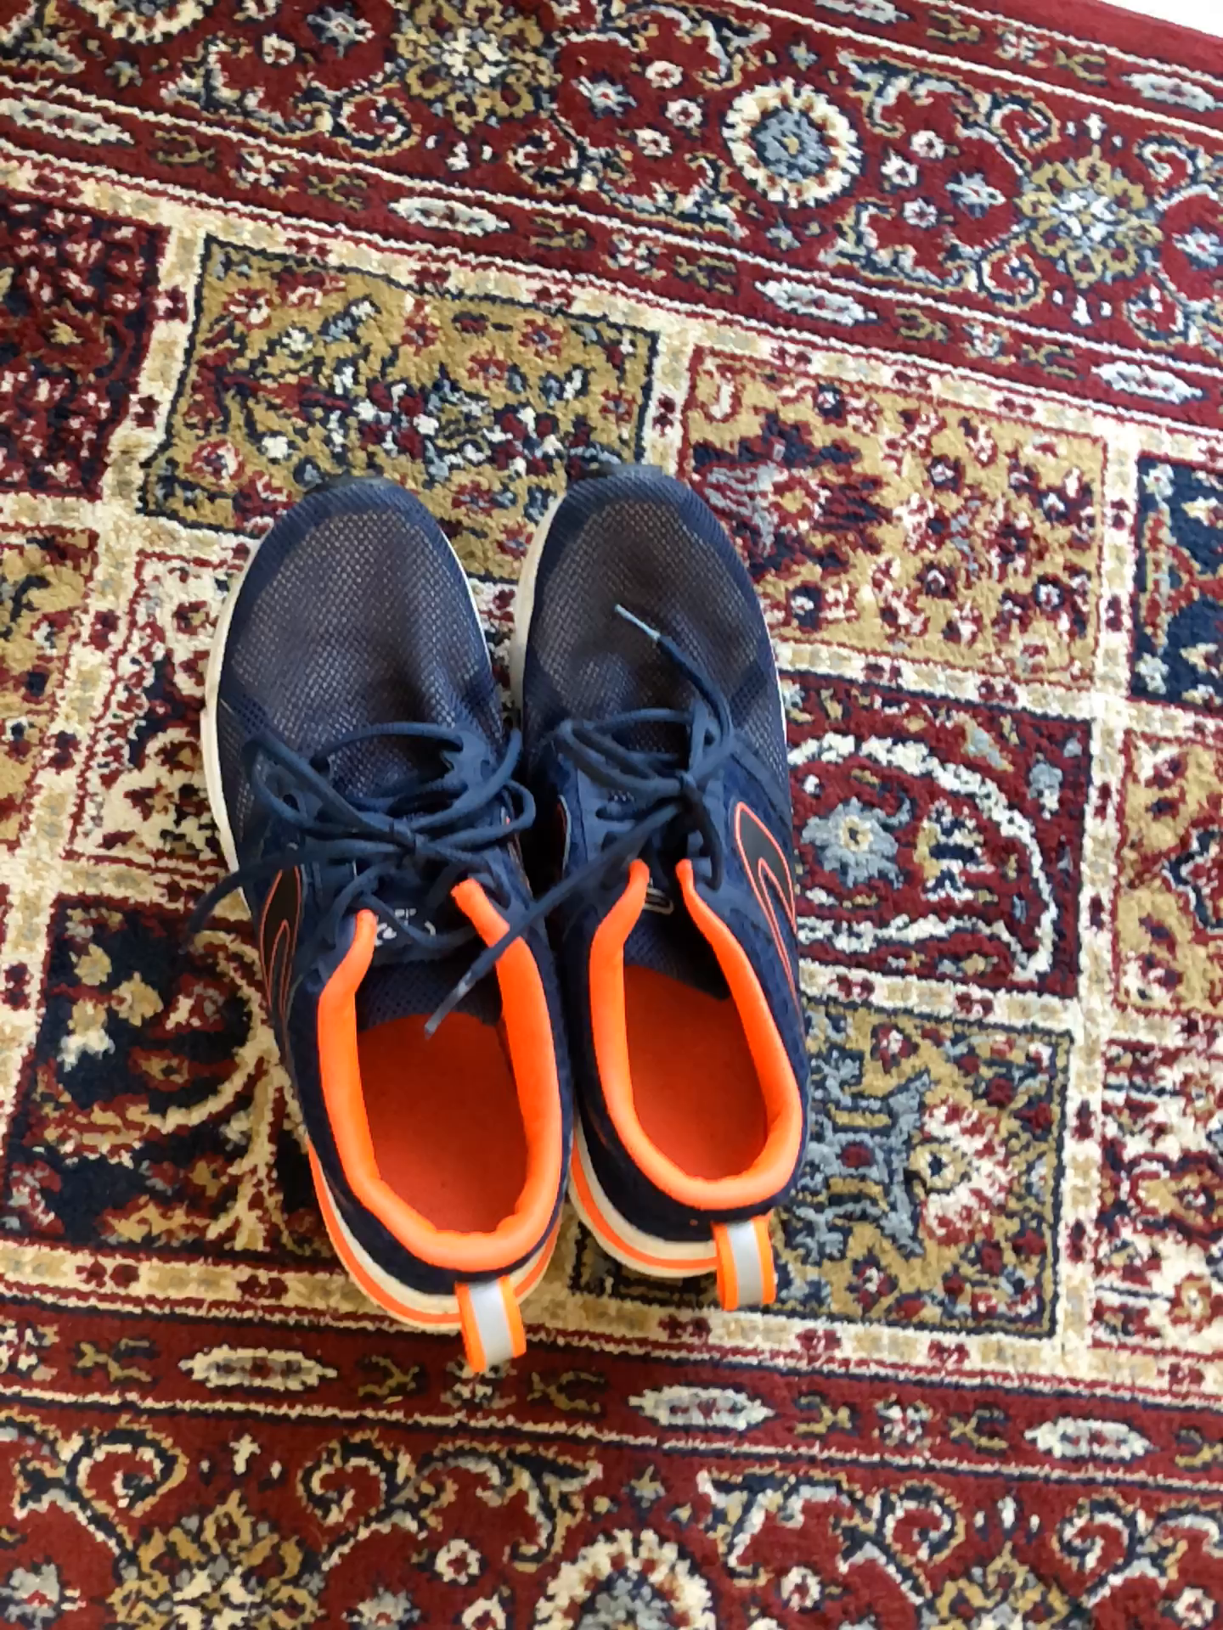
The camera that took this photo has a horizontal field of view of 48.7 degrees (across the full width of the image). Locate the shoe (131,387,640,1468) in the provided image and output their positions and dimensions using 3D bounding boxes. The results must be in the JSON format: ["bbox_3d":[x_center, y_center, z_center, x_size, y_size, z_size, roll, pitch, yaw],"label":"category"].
[{"bbox_3d":[-0.085,0.032,0.492,0.120,0.130,0.330,-7,81,-10],"label":"shoe"}]

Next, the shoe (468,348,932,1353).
[{"bbox_3d":[0.020,0.009,0.511,0.120,0.130,0.330,-3,80,-10],"label":"shoe"}]
